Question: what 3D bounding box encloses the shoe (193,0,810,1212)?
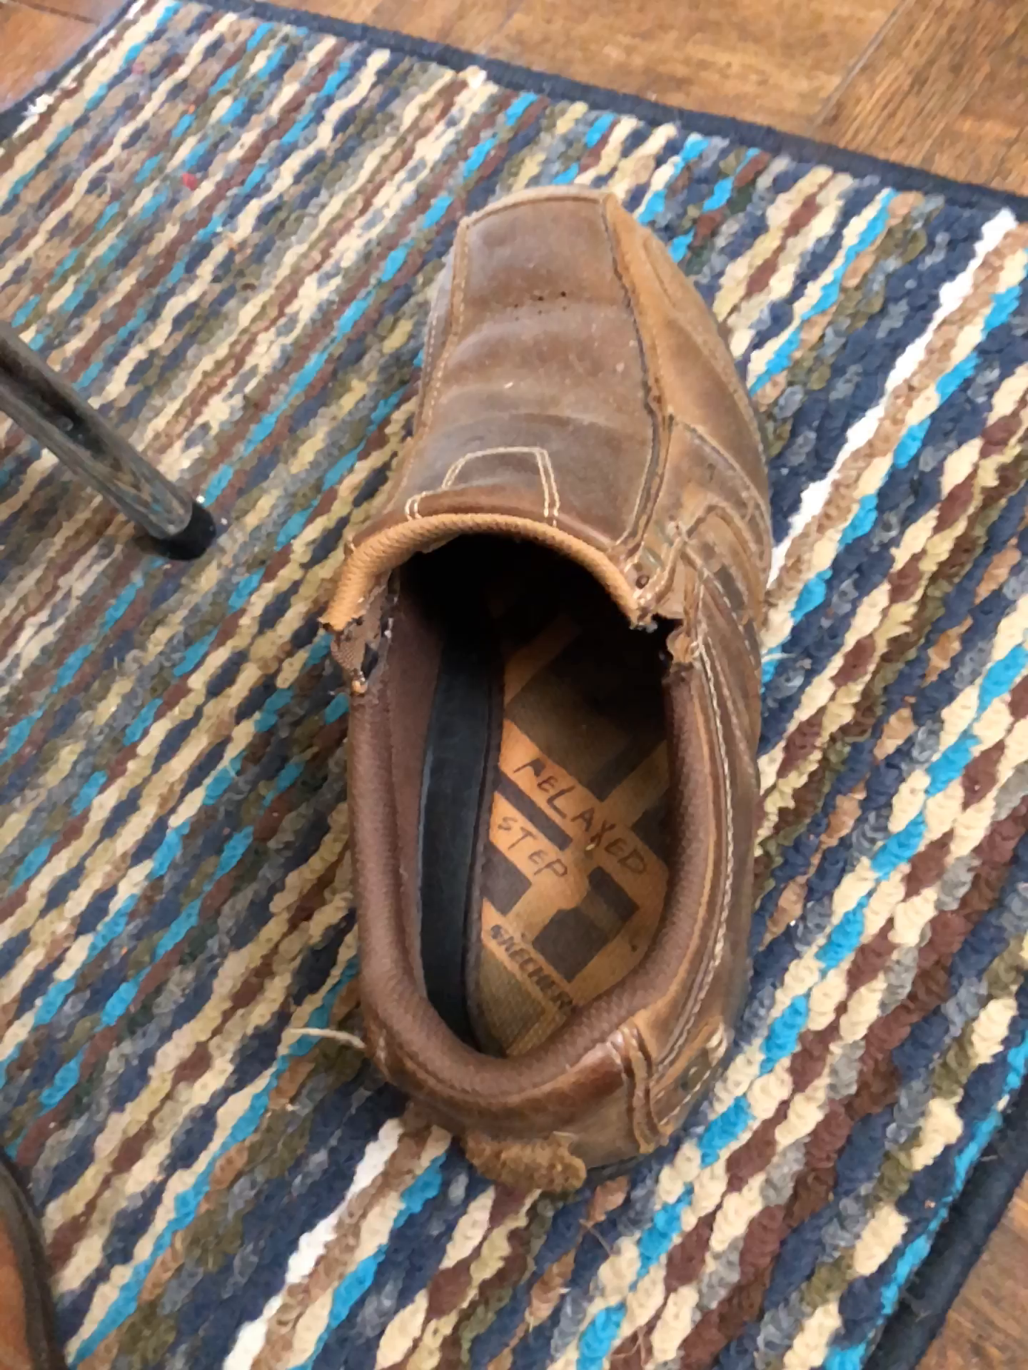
[{"bbox_3d":[0.011,-0.024,0.288,0.100,0.100,0.280,-5,64,15],"label":"shoe"}]
